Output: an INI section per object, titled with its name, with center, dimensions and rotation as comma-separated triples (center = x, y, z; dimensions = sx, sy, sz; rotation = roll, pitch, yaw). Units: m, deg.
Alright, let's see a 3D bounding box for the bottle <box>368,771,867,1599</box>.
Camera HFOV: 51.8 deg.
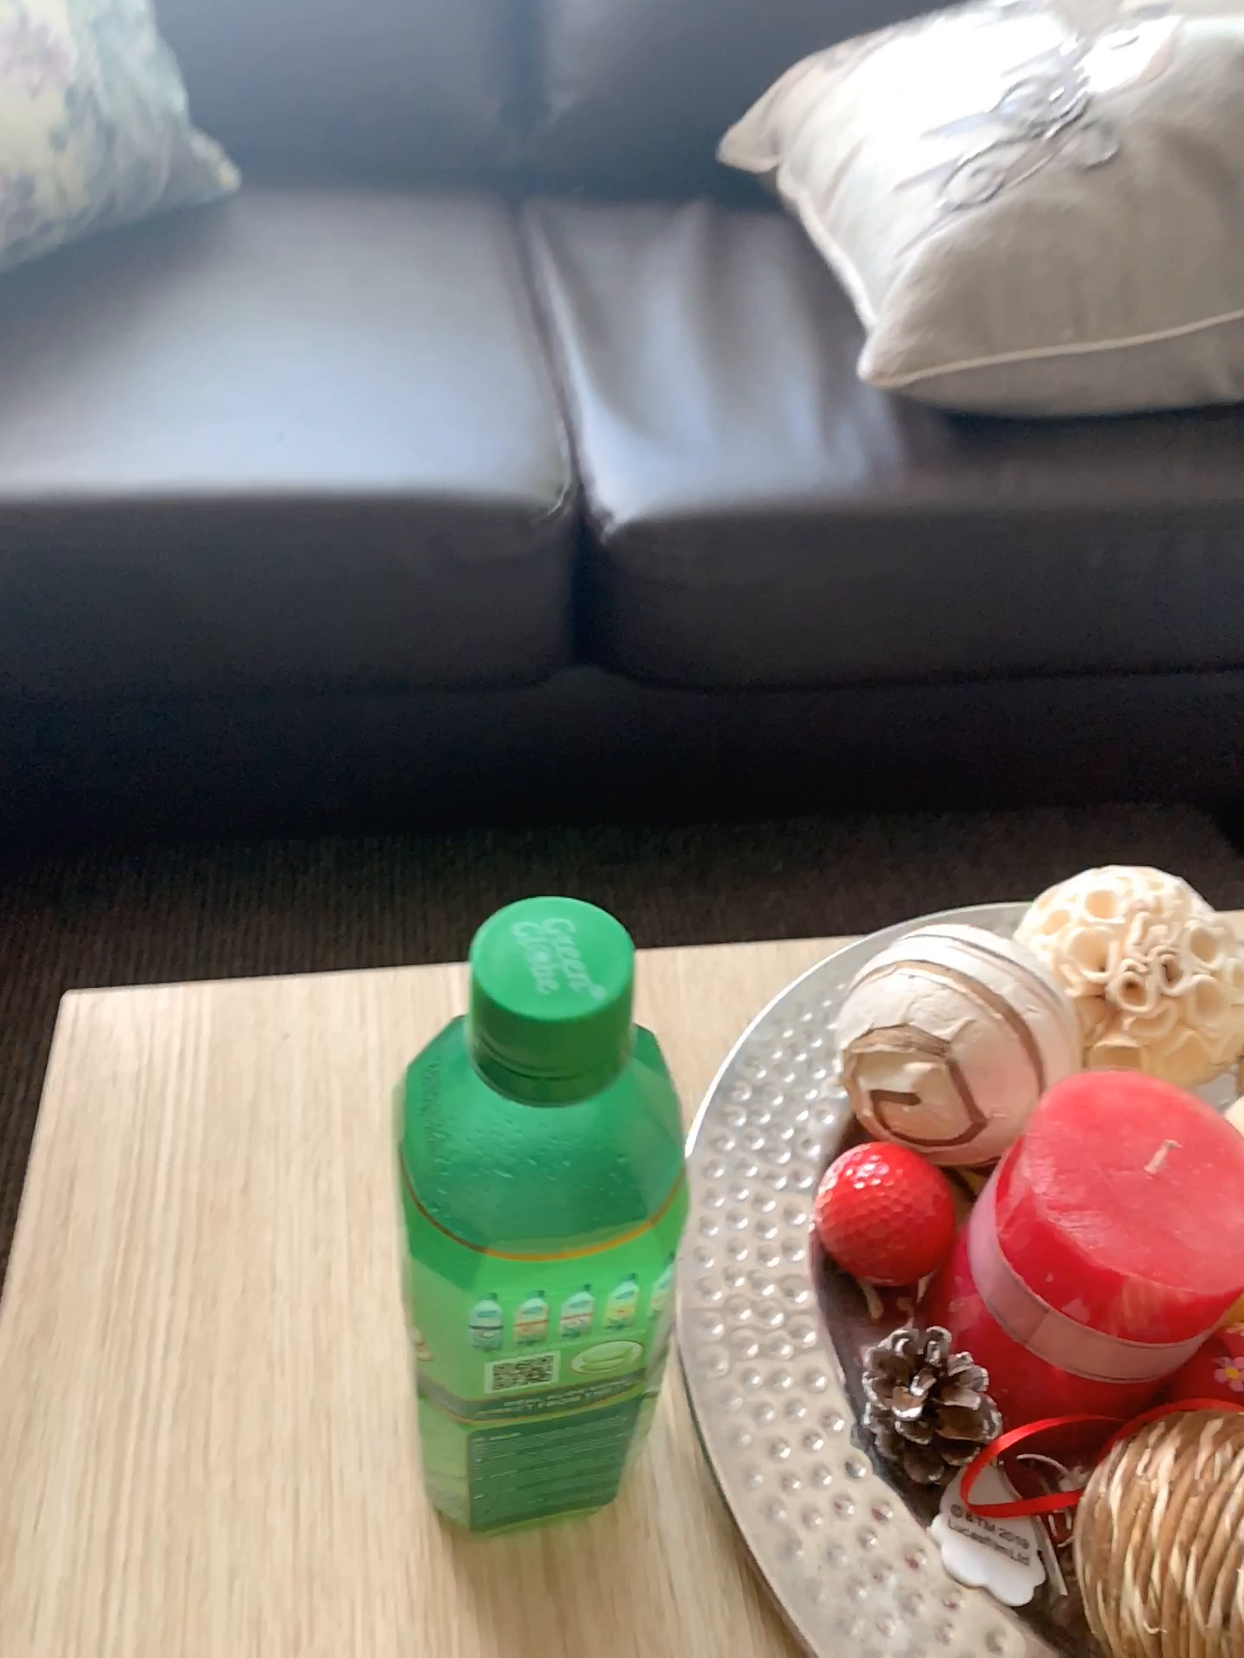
[bottle]
center = -0.014, 0.095, 0.289
dimensions = 0.070, 0.218, 0.071
rotation = 4, 44, -4
